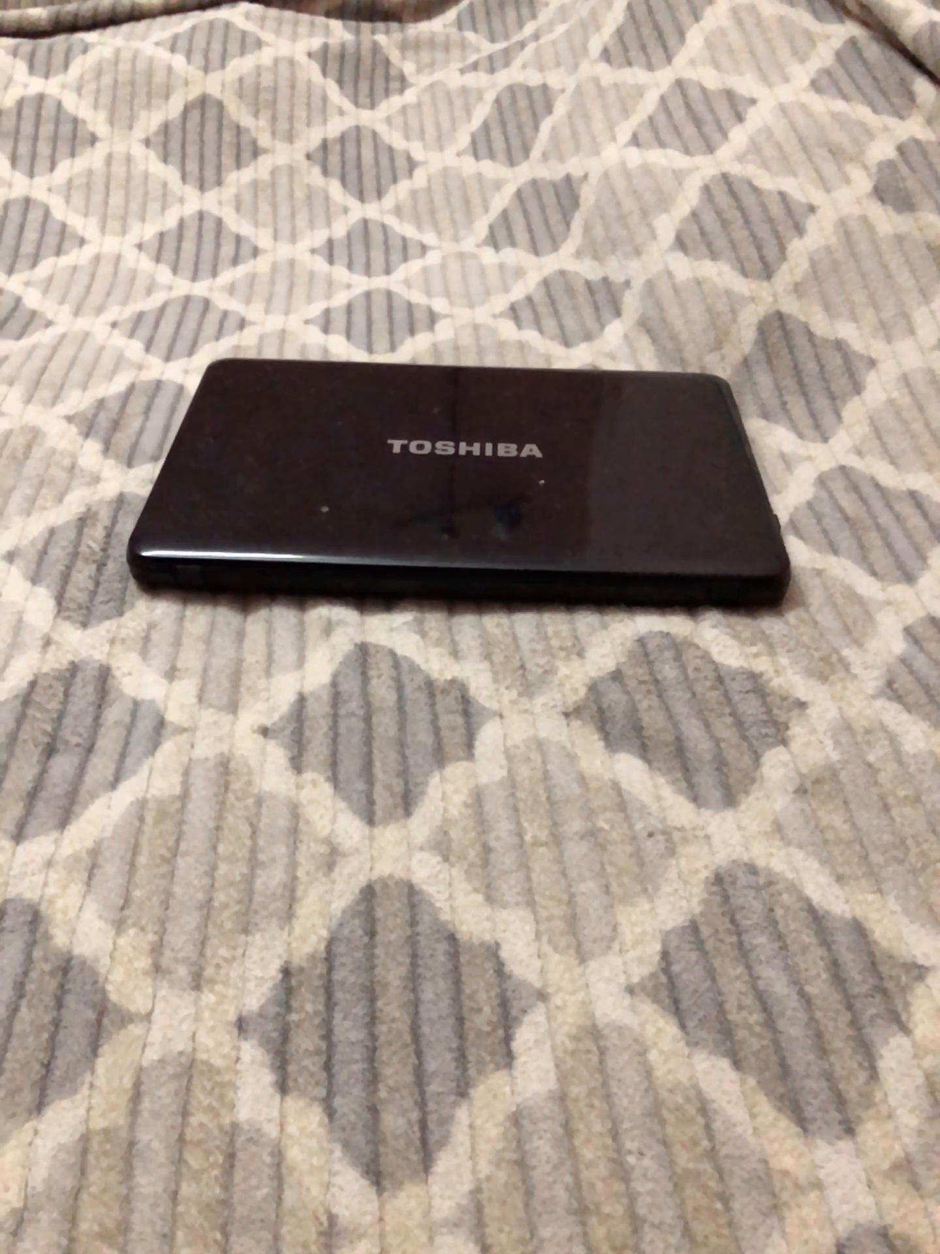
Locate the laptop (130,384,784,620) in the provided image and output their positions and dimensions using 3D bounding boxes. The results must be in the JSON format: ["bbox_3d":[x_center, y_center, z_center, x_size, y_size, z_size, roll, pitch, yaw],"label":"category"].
[{"bbox_3d":[-0.008,-0.095,0.700,0.375,0.023,0.250,2,38,0],"label":"laptop"}]
